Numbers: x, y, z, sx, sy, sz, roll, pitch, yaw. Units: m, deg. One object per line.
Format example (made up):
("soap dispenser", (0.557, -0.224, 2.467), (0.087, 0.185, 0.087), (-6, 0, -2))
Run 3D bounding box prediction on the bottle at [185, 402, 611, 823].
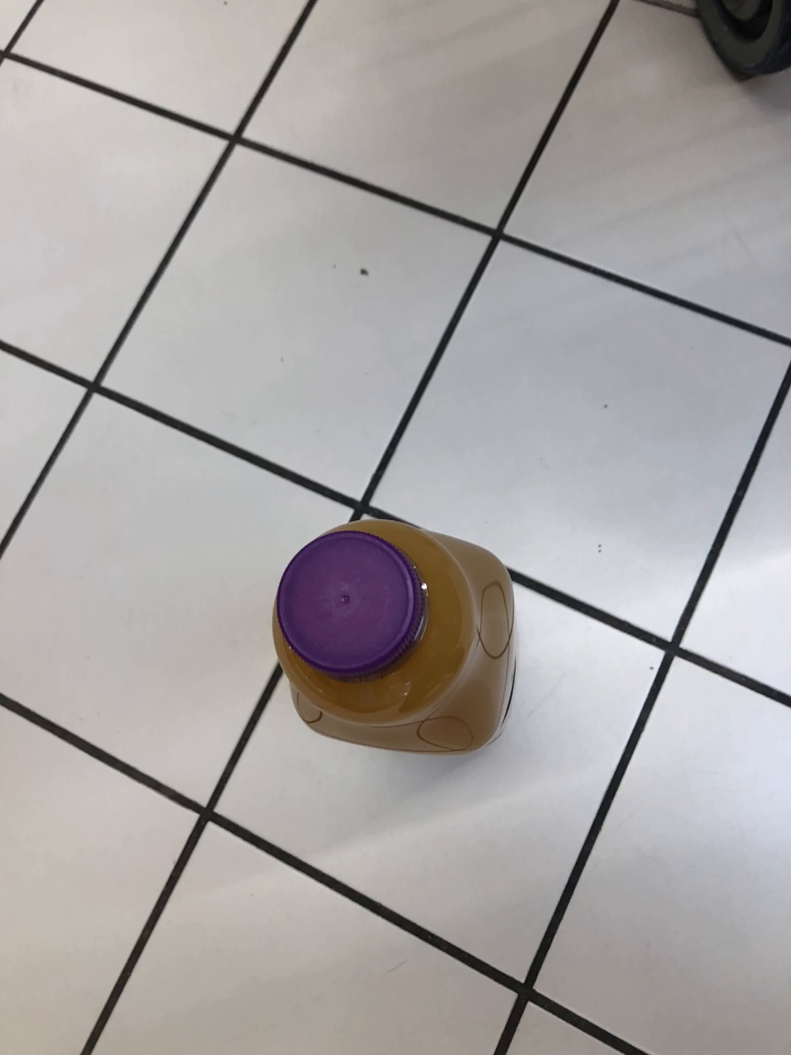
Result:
("bottle", (0.019, 0.052, 0.361), (0.100, 0.280, 0.100), (-2, 75, 7))
